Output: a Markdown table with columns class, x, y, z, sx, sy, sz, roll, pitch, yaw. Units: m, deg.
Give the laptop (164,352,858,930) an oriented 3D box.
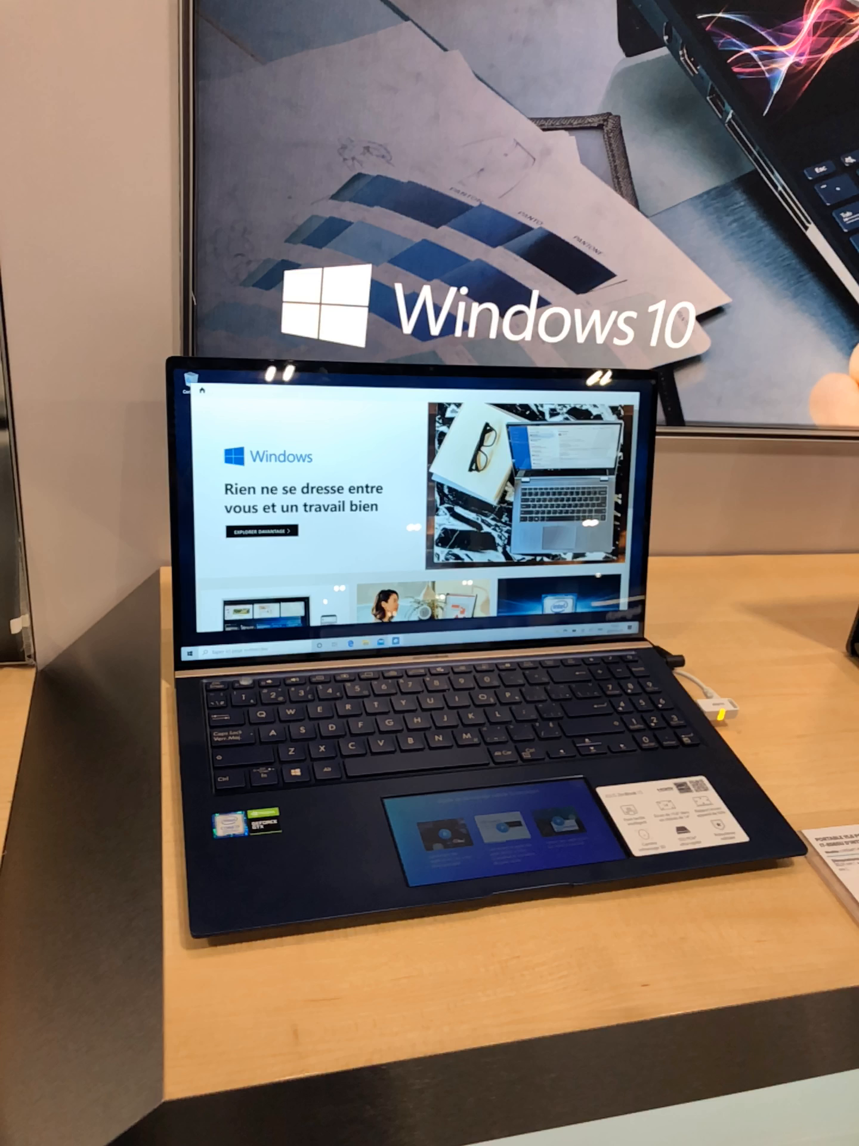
| class | x | y | z | sx | sy | sz | roll | pitch | yaw |
| --- | --- | --- | --- | --- | --- | --- | --- | --- | --- |
| laptop | 0.025 | 0.012 | 0.559 | 0.338 | 0.183 | 0.274 | -1 | 31 | -17 |
